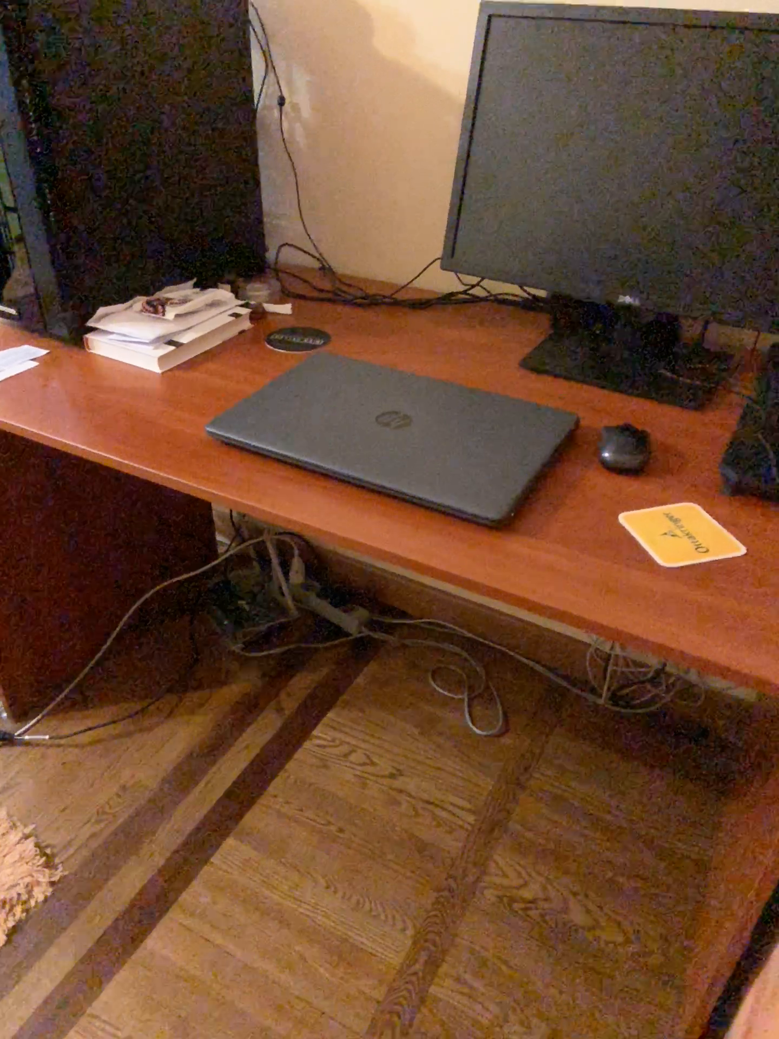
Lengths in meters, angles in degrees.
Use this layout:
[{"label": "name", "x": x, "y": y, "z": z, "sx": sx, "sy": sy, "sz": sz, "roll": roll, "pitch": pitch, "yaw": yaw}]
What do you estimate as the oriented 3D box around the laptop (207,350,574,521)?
[{"label": "laptop", "x": 0.004, "y": -0.117, "z": 0.934, "sx": 0.369, "sy": 0.005, "sz": 0.248, "roll": 18, "pitch": 39, "yaw": 24}]
